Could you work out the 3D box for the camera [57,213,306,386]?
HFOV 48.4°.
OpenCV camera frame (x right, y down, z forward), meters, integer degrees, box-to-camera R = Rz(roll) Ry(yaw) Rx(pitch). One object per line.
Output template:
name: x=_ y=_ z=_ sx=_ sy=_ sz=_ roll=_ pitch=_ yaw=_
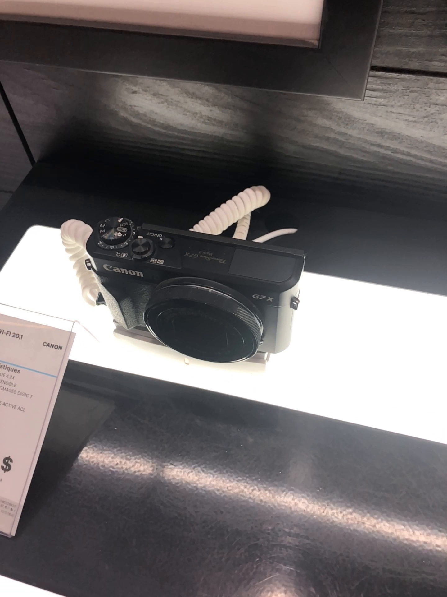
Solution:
camera: x=-0.016 y=0.001 z=0.235 sx=0.100 sy=0.056 sz=0.038 roll=11 pitch=54 yaw=11
